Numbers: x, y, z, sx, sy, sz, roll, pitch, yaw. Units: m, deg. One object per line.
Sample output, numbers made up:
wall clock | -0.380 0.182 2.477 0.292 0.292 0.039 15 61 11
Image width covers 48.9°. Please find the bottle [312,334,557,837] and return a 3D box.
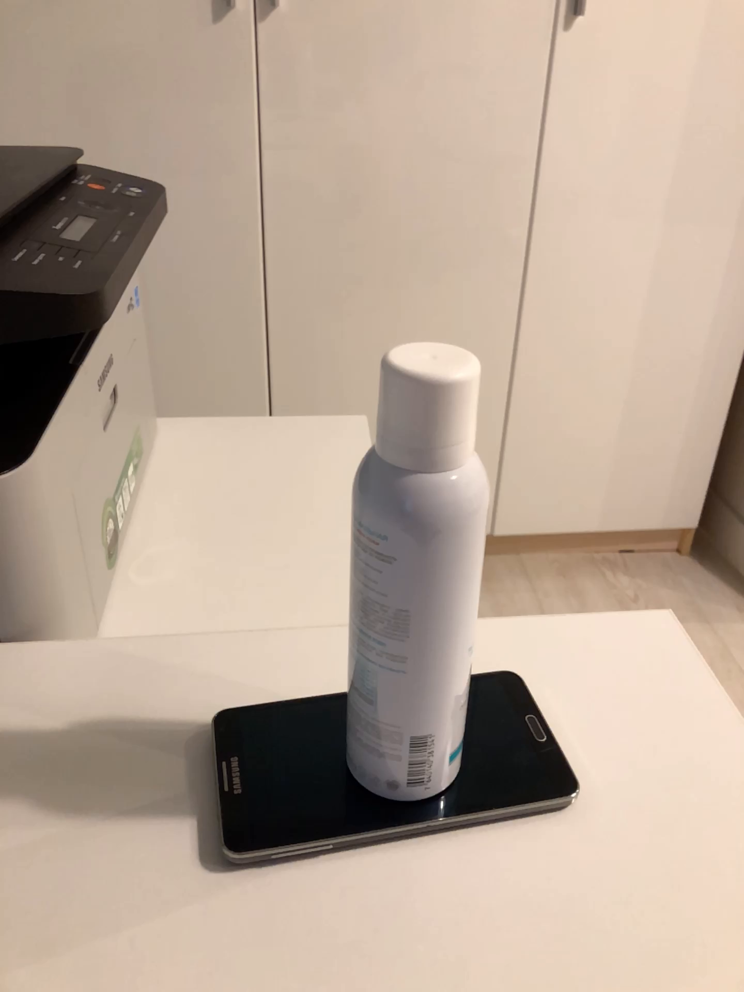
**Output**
bottle | 0.017 0.037 0.307 0.059 0.175 0.054 1 30 -1
